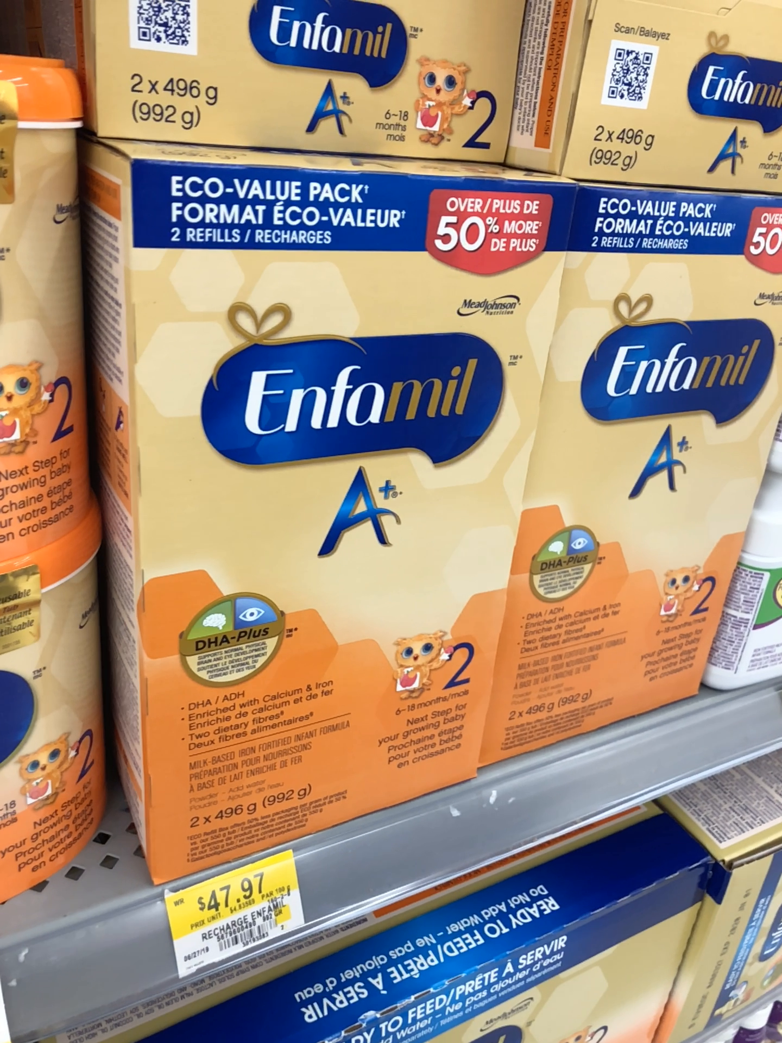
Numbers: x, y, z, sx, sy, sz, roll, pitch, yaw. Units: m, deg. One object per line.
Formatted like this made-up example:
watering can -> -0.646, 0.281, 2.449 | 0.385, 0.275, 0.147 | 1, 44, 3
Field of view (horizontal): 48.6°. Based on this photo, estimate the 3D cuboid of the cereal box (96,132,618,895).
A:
cereal box -> -0.022, -0.003, 0.317 | 0.140, 0.238, 0.080 | -9, 30, -30
